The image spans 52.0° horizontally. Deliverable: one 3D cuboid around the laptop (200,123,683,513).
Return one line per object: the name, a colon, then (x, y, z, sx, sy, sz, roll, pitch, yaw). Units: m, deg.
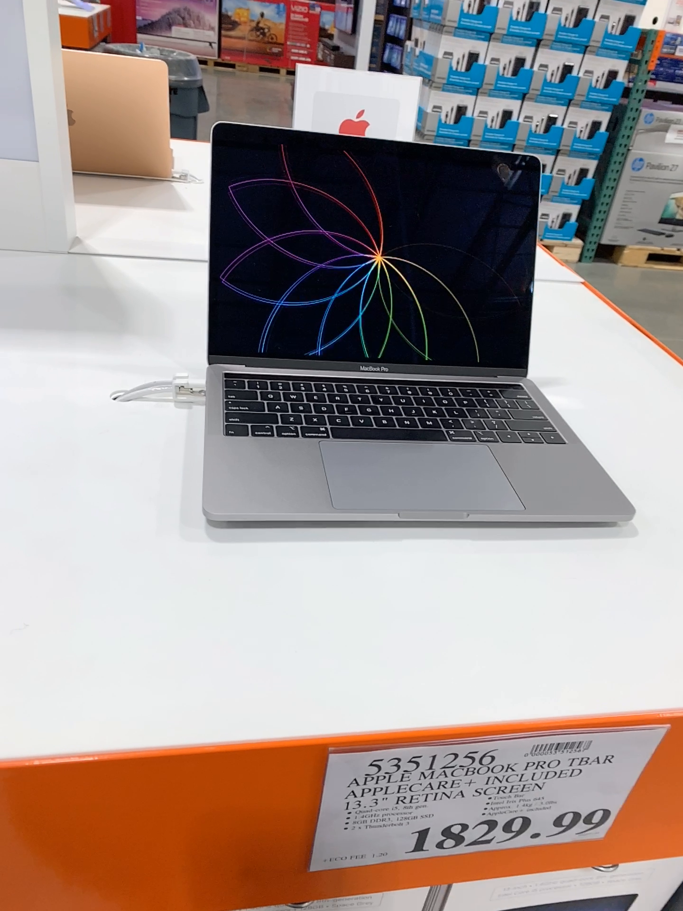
laptop: (0.047, -0.119, 0.527, 0.289, 0.165, 0.308, 1, 34, -10)
